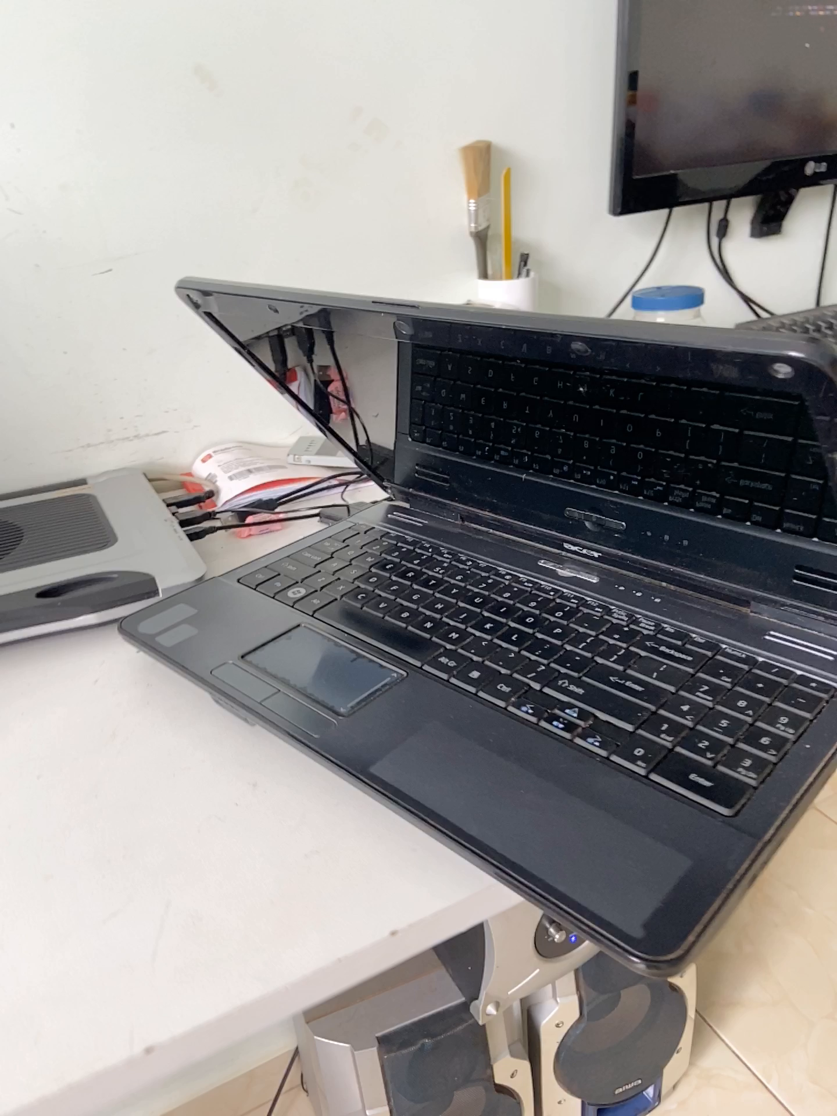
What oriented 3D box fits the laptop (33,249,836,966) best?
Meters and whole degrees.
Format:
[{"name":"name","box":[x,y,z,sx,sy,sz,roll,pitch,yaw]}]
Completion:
[{"name":"laptop","box":[0.022,-0.038,0.435,0.366,0.183,0.233,20,35,40]}]
